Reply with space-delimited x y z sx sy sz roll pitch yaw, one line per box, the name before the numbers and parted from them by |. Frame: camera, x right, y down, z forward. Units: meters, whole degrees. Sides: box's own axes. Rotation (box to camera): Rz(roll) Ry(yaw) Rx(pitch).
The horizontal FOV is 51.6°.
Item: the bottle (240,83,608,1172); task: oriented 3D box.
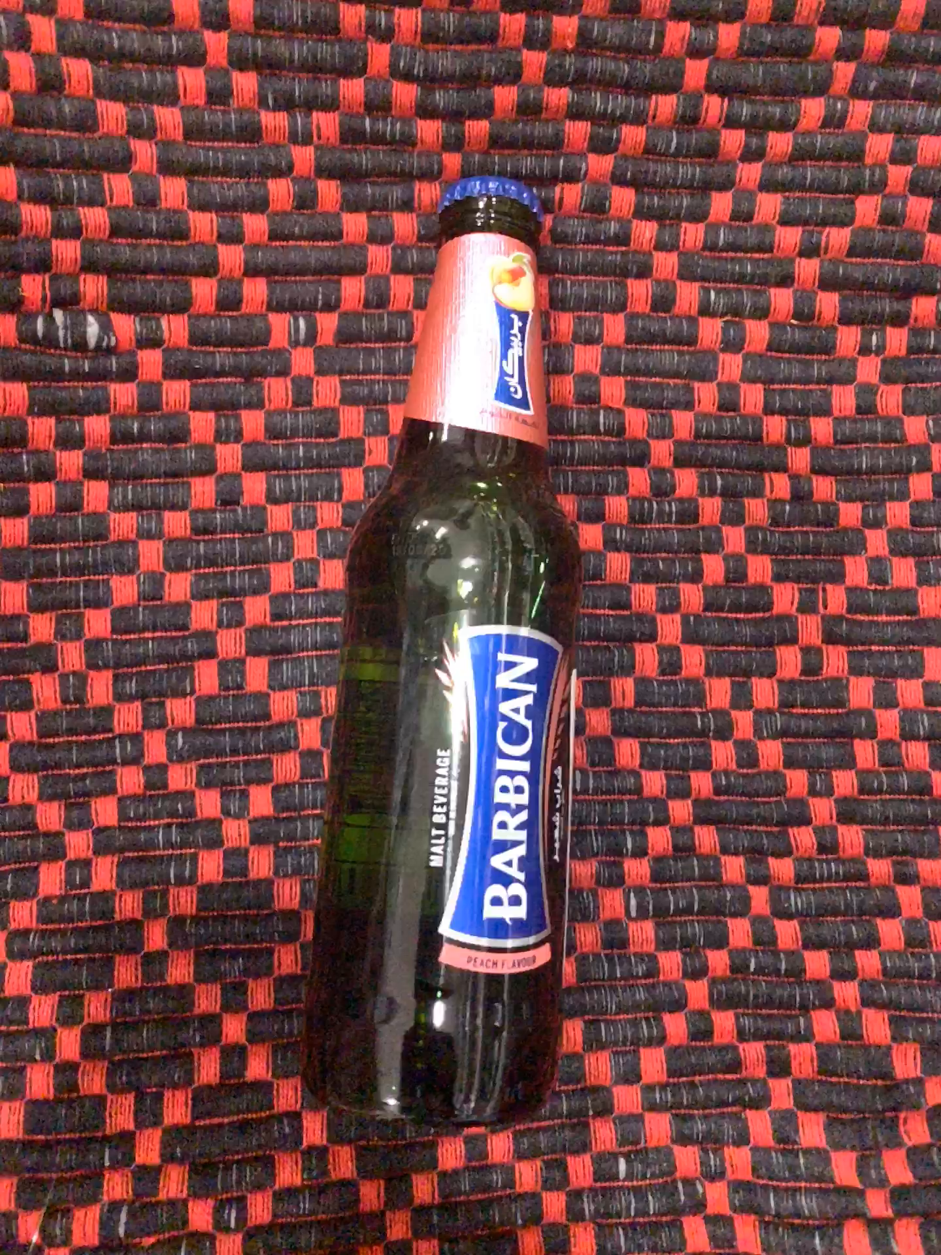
bottle | -0.005 -0.006 0.227 0.050 0.050 0.220 -4 77 33
